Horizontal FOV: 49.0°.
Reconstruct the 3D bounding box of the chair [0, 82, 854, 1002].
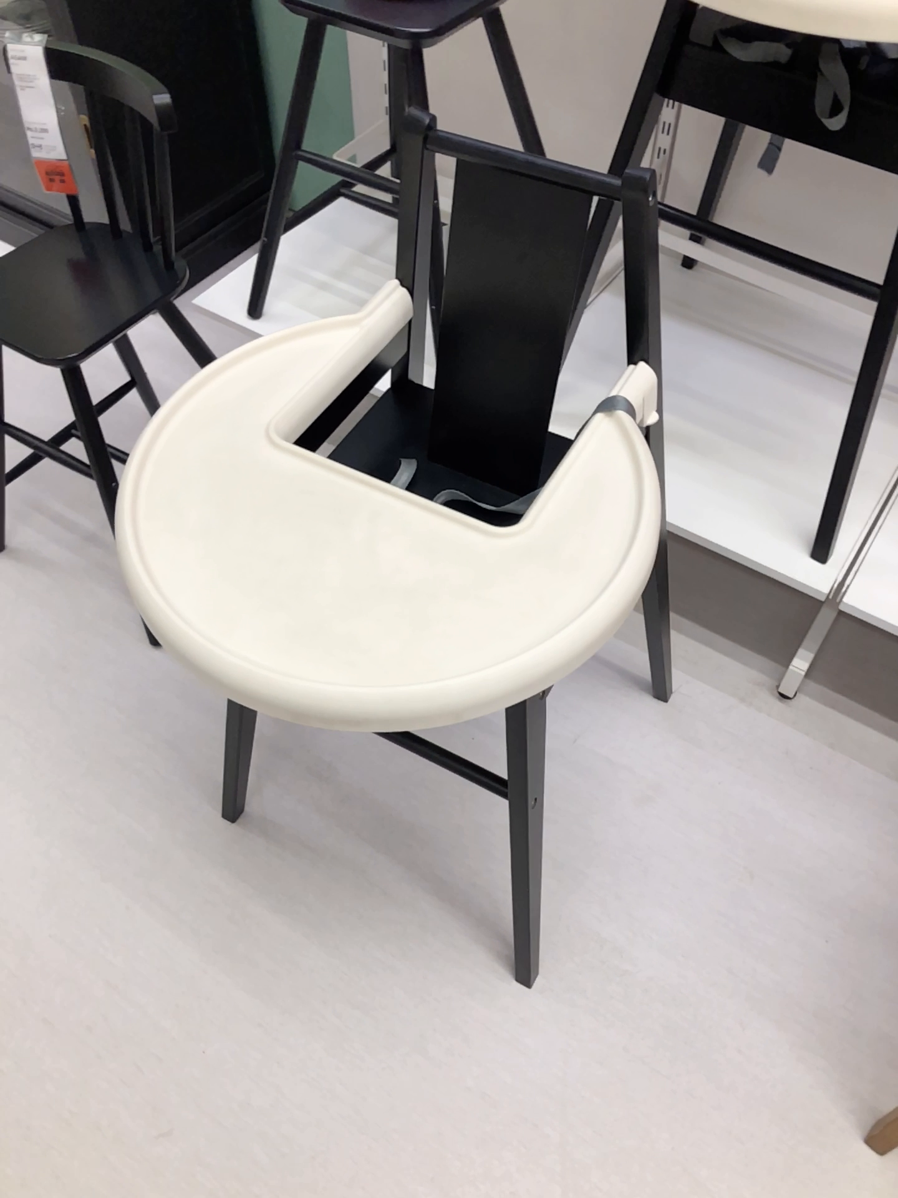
[{"bbox_3d":[0.000,-0.034,1.156,0.551,0.776,0.552,25,56,18],"label":"chair"}]
